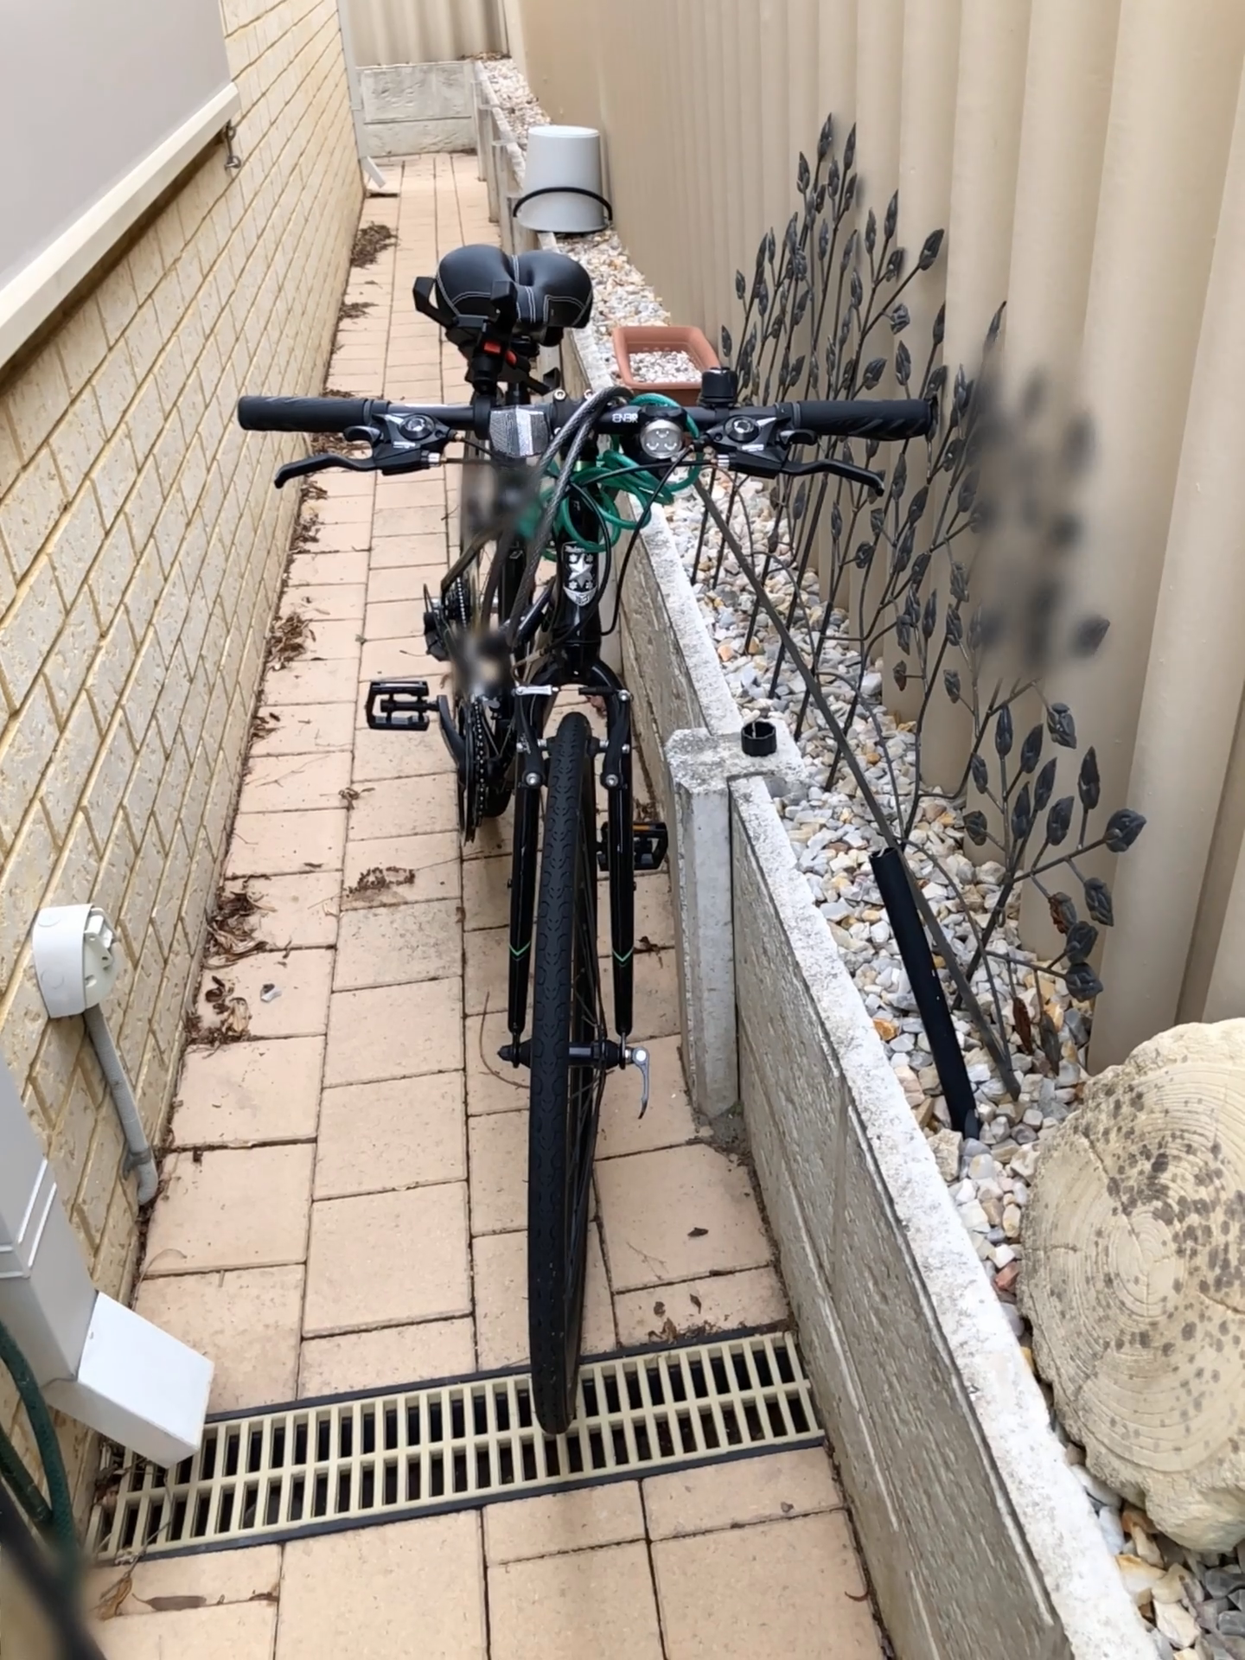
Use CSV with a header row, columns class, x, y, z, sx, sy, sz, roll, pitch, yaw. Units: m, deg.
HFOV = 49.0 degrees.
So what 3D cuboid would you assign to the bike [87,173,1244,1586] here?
class,x,y,z,sx,sy,sz,roll,pitch,yaw
bike,-0.057,-0.198,1.687,0.637,0.859,1.708,-6,33,-5
